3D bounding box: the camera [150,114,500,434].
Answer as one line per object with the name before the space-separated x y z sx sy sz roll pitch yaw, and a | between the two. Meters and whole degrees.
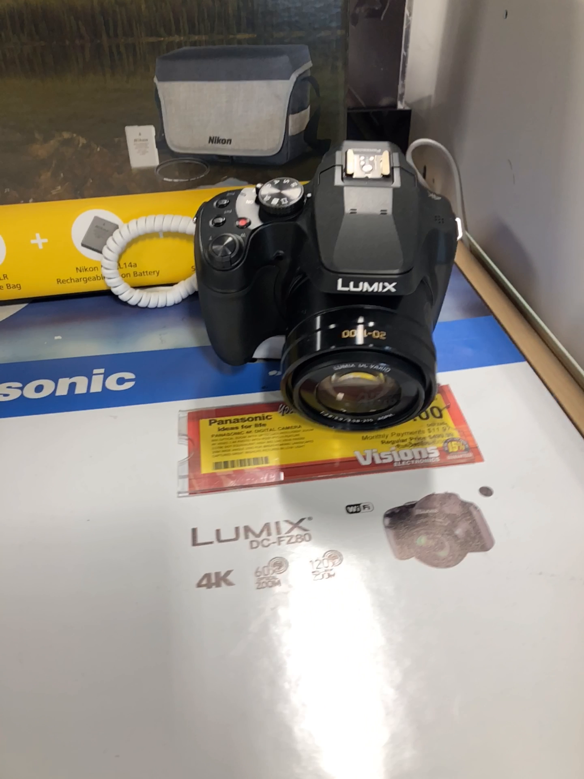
camera | 0.012 -0.050 0.291 0.120 0.099 0.101 -1 52 0
